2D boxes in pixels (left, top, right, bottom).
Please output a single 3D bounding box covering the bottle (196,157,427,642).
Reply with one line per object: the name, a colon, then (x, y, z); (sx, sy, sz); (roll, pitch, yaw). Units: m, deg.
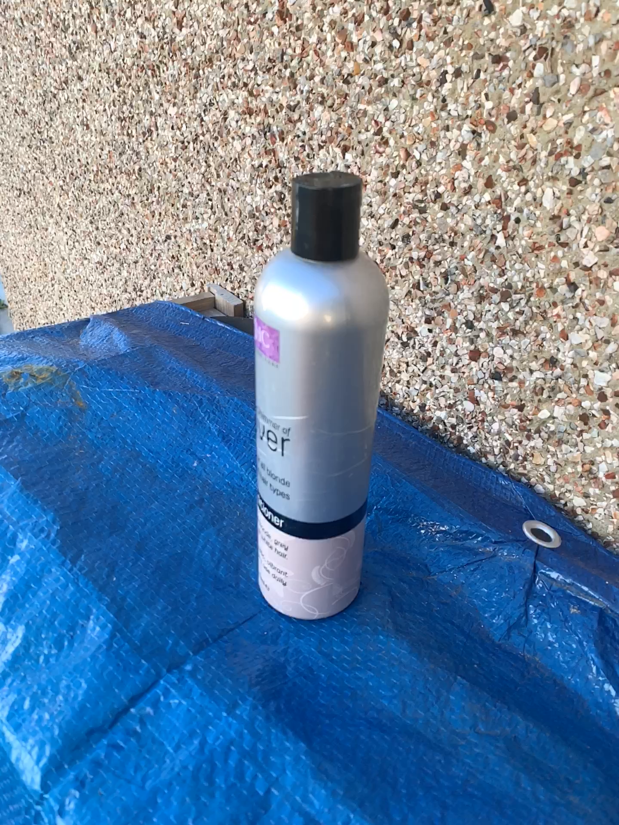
bottle: (-0.003, 0.000, 0.282); (0.060, 0.198, 0.071); (-13, 35, -20)
